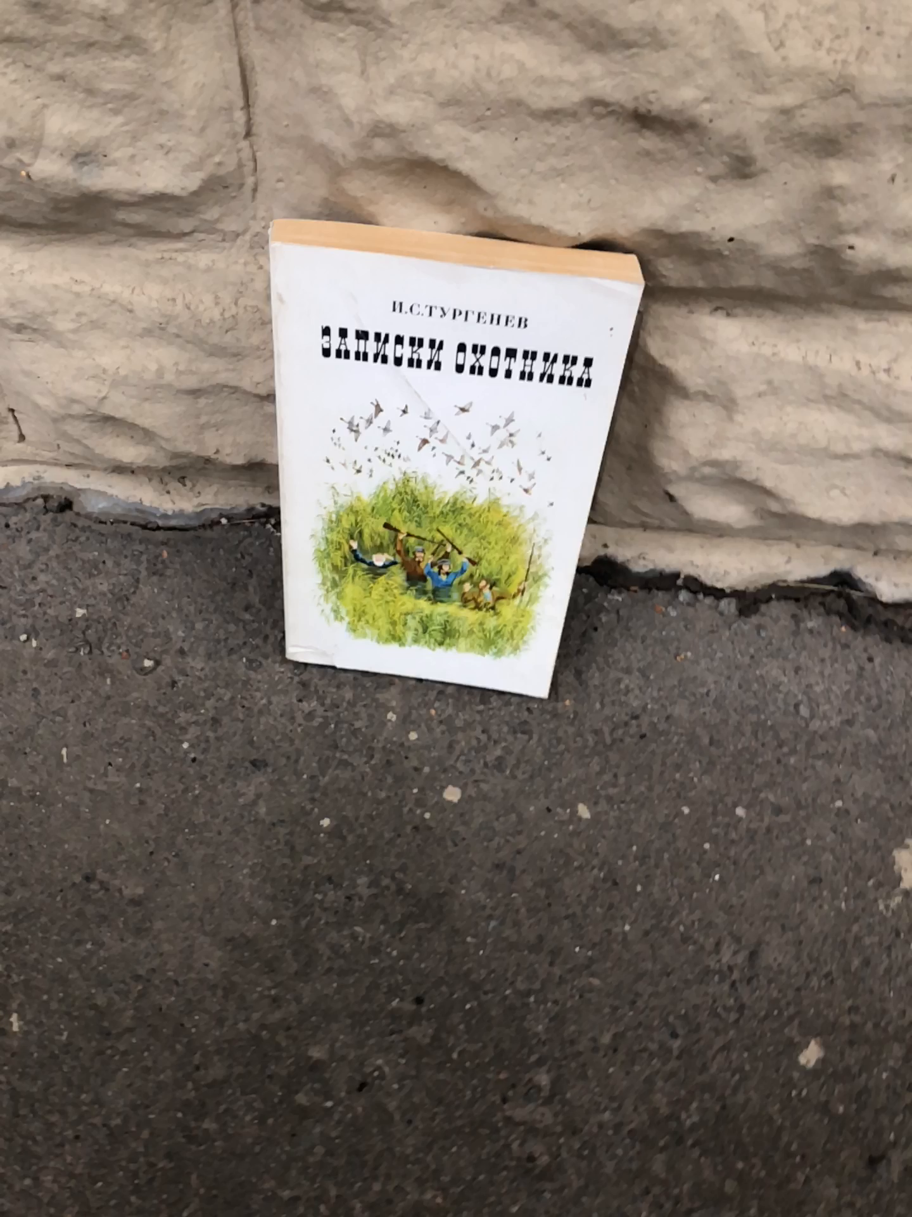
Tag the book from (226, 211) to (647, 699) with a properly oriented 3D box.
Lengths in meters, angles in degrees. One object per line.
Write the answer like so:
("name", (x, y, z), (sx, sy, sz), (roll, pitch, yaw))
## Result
("book", (-0.012, -0.050, 0.395), (0.137, 0.183, 0.032), (7, 40, 2))
